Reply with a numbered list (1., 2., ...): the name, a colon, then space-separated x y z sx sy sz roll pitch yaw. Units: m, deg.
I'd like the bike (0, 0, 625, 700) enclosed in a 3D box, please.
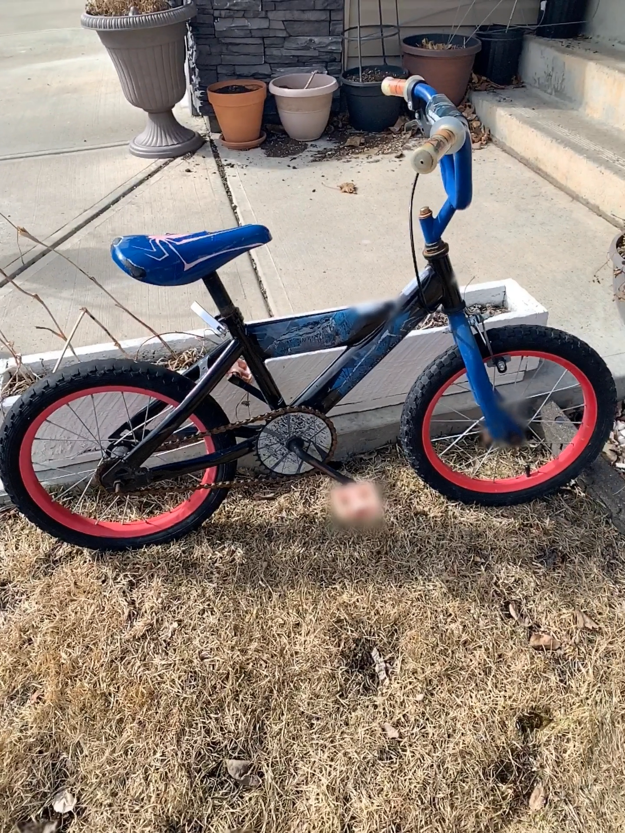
1. bike: 0.010 -0.103 0.902 1.023 0.728 0.538 -7 40 -2
